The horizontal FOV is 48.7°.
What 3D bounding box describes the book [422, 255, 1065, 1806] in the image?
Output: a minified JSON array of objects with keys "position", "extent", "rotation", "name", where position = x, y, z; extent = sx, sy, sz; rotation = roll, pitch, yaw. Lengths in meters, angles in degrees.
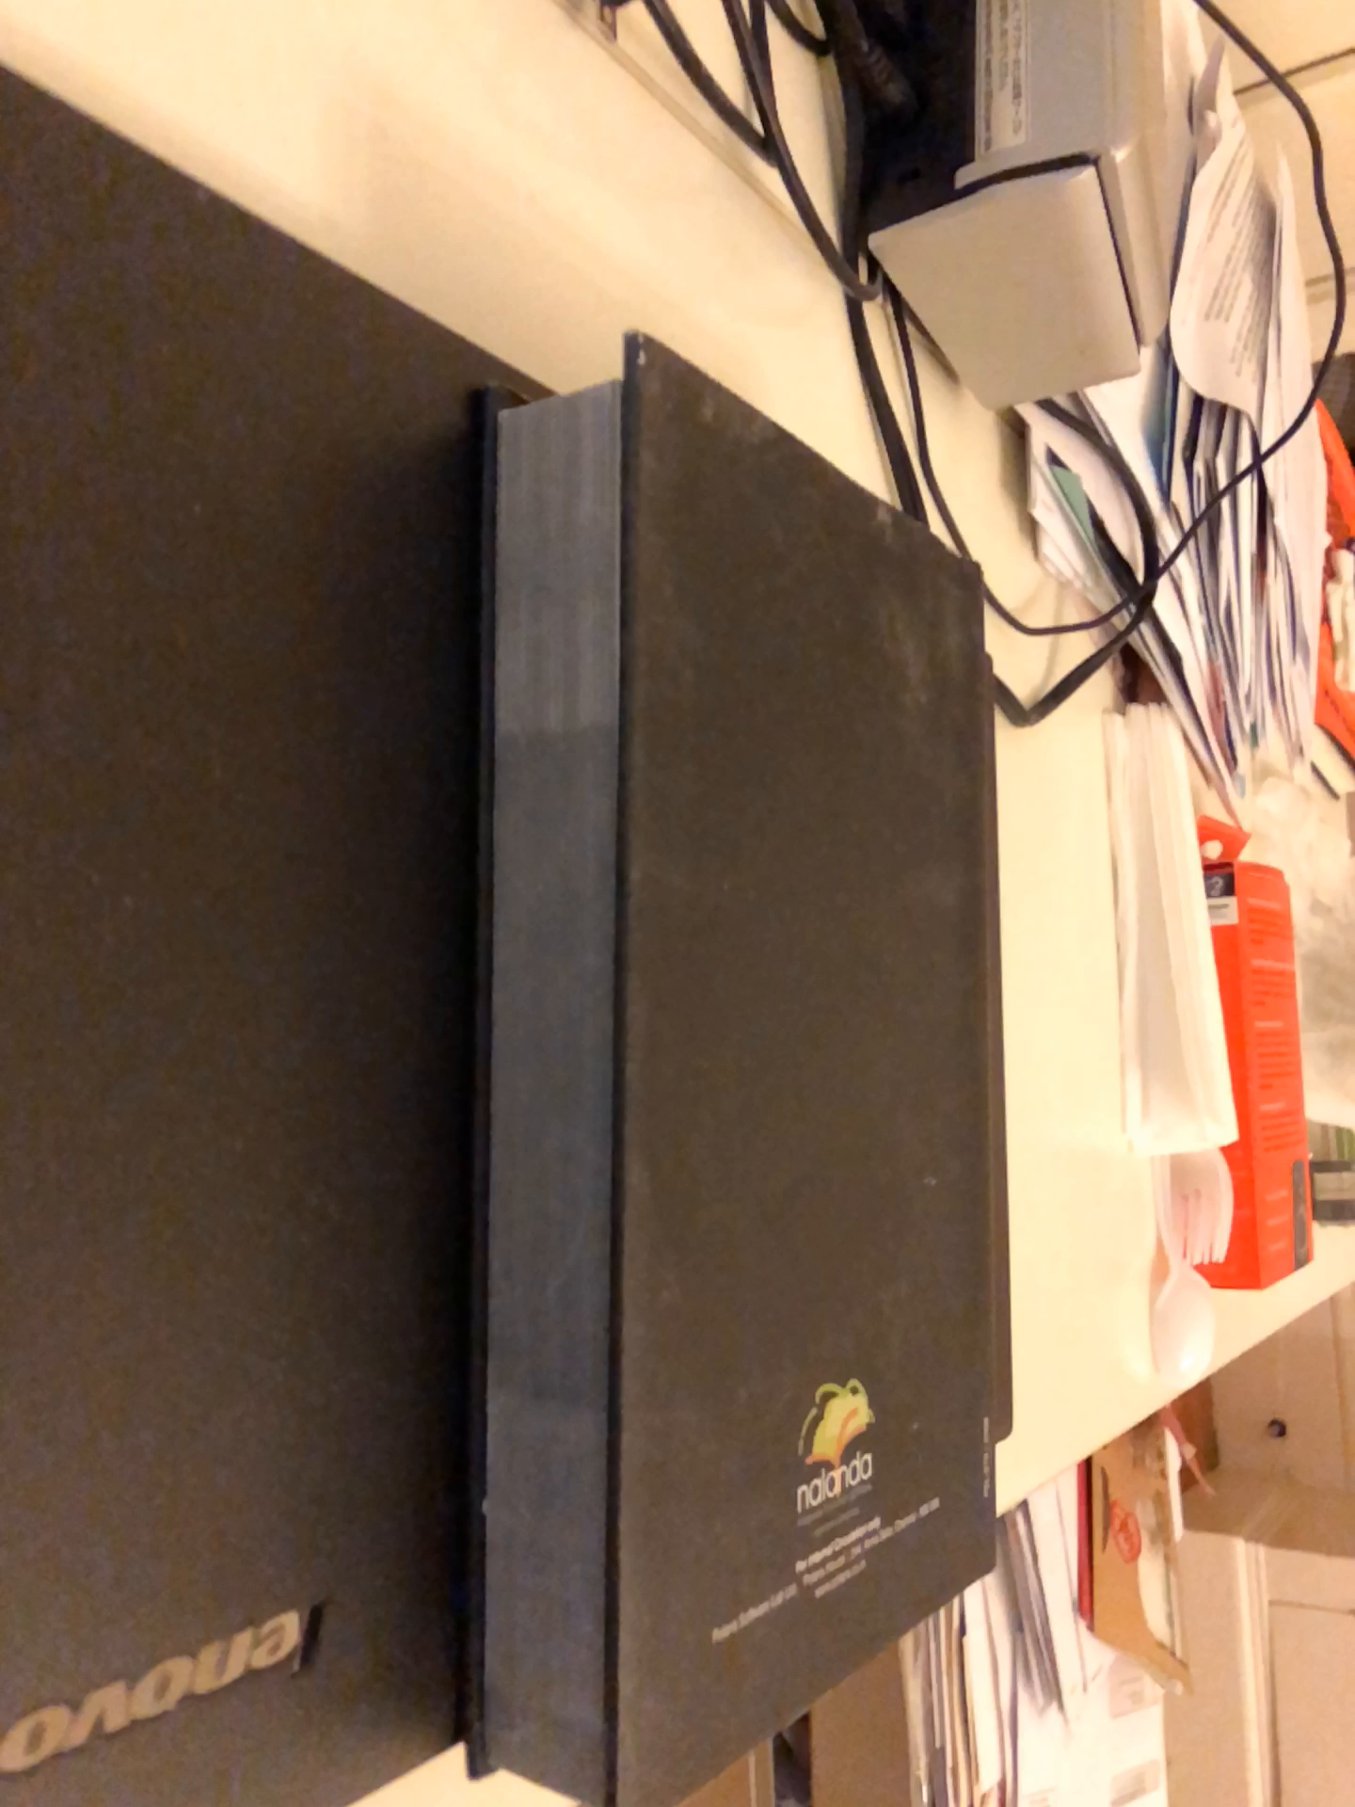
[{"position":[0.021,0.026,0.281],"extent":[0.151,0.040,0.230],"rotation":[8,78,-56],"name":"book"}]
